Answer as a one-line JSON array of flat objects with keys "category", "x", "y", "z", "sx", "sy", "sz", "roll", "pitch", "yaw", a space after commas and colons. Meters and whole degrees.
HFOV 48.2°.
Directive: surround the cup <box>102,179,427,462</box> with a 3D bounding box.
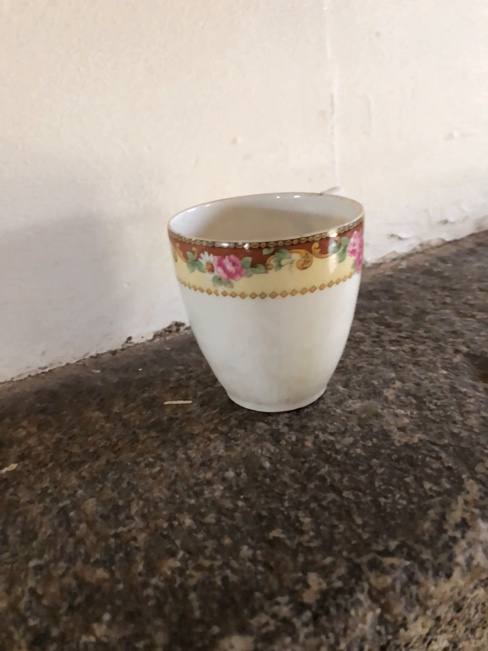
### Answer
[{"category": "cup", "x": 0.011, "y": -0.012, "z": 0.201, "sx": 0.070, "sy": 0.060, "sz": 0.090, "roll": 19, "pitch": 35, "yaw": 41}]
